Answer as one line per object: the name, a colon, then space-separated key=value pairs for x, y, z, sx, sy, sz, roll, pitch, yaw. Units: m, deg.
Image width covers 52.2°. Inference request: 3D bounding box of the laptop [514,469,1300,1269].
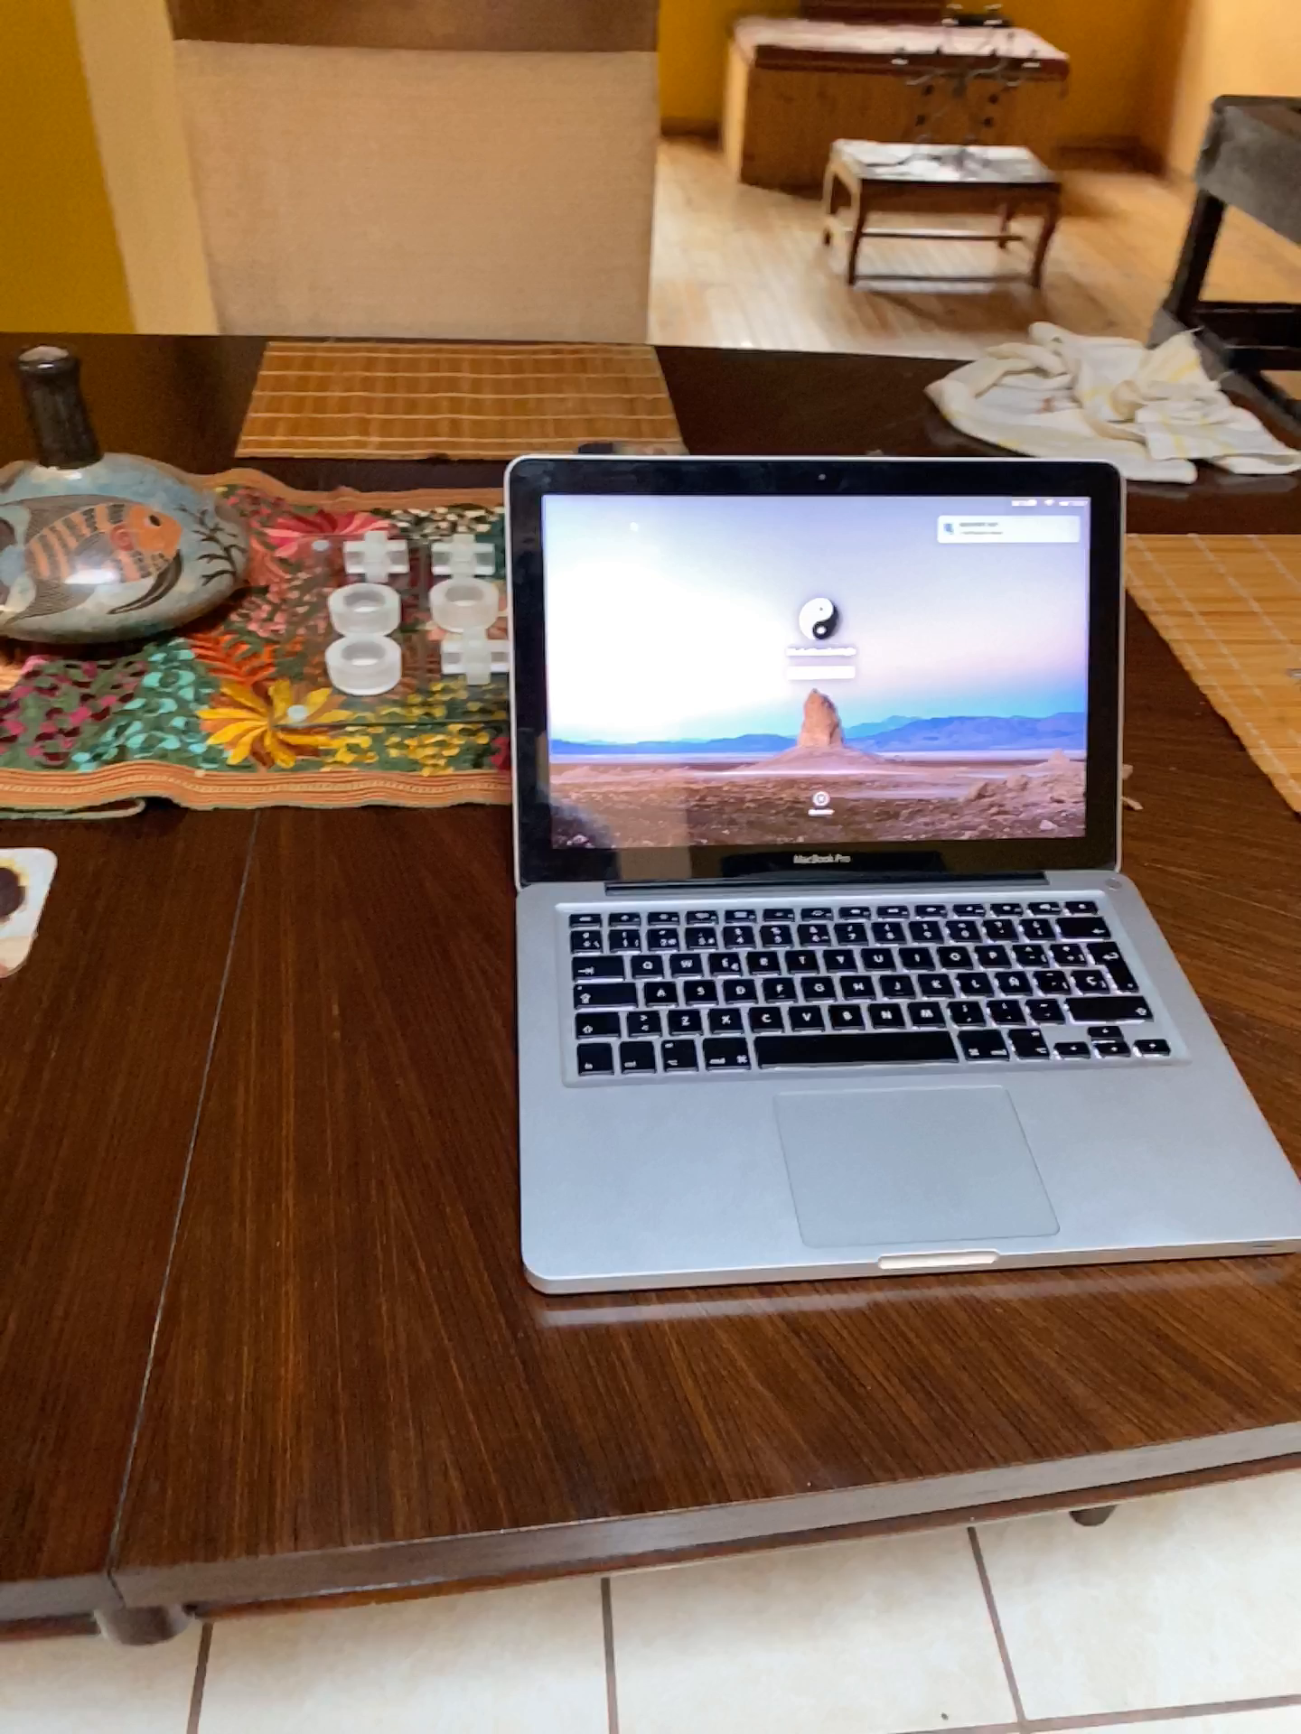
laptop: x=0.101 y=-0.029 z=0.620 sx=0.324 sy=0.170 sz=0.359 roll=-1 pitch=40 yaw=-6
